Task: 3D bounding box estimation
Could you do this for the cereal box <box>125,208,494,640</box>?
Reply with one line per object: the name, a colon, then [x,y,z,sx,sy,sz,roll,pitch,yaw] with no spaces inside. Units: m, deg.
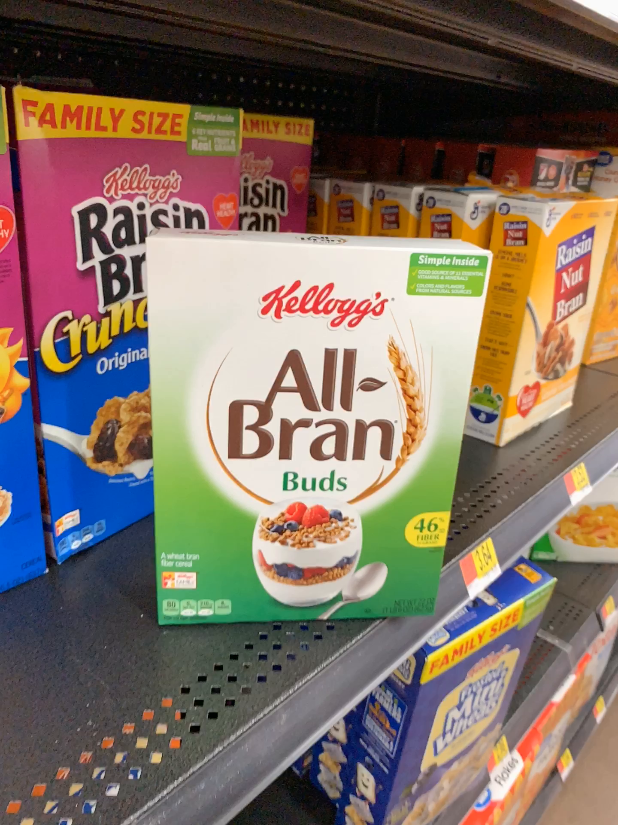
cereal box: [-0.008,0.016,0.398,0.190,0.259,0.050,1,21,-8]
